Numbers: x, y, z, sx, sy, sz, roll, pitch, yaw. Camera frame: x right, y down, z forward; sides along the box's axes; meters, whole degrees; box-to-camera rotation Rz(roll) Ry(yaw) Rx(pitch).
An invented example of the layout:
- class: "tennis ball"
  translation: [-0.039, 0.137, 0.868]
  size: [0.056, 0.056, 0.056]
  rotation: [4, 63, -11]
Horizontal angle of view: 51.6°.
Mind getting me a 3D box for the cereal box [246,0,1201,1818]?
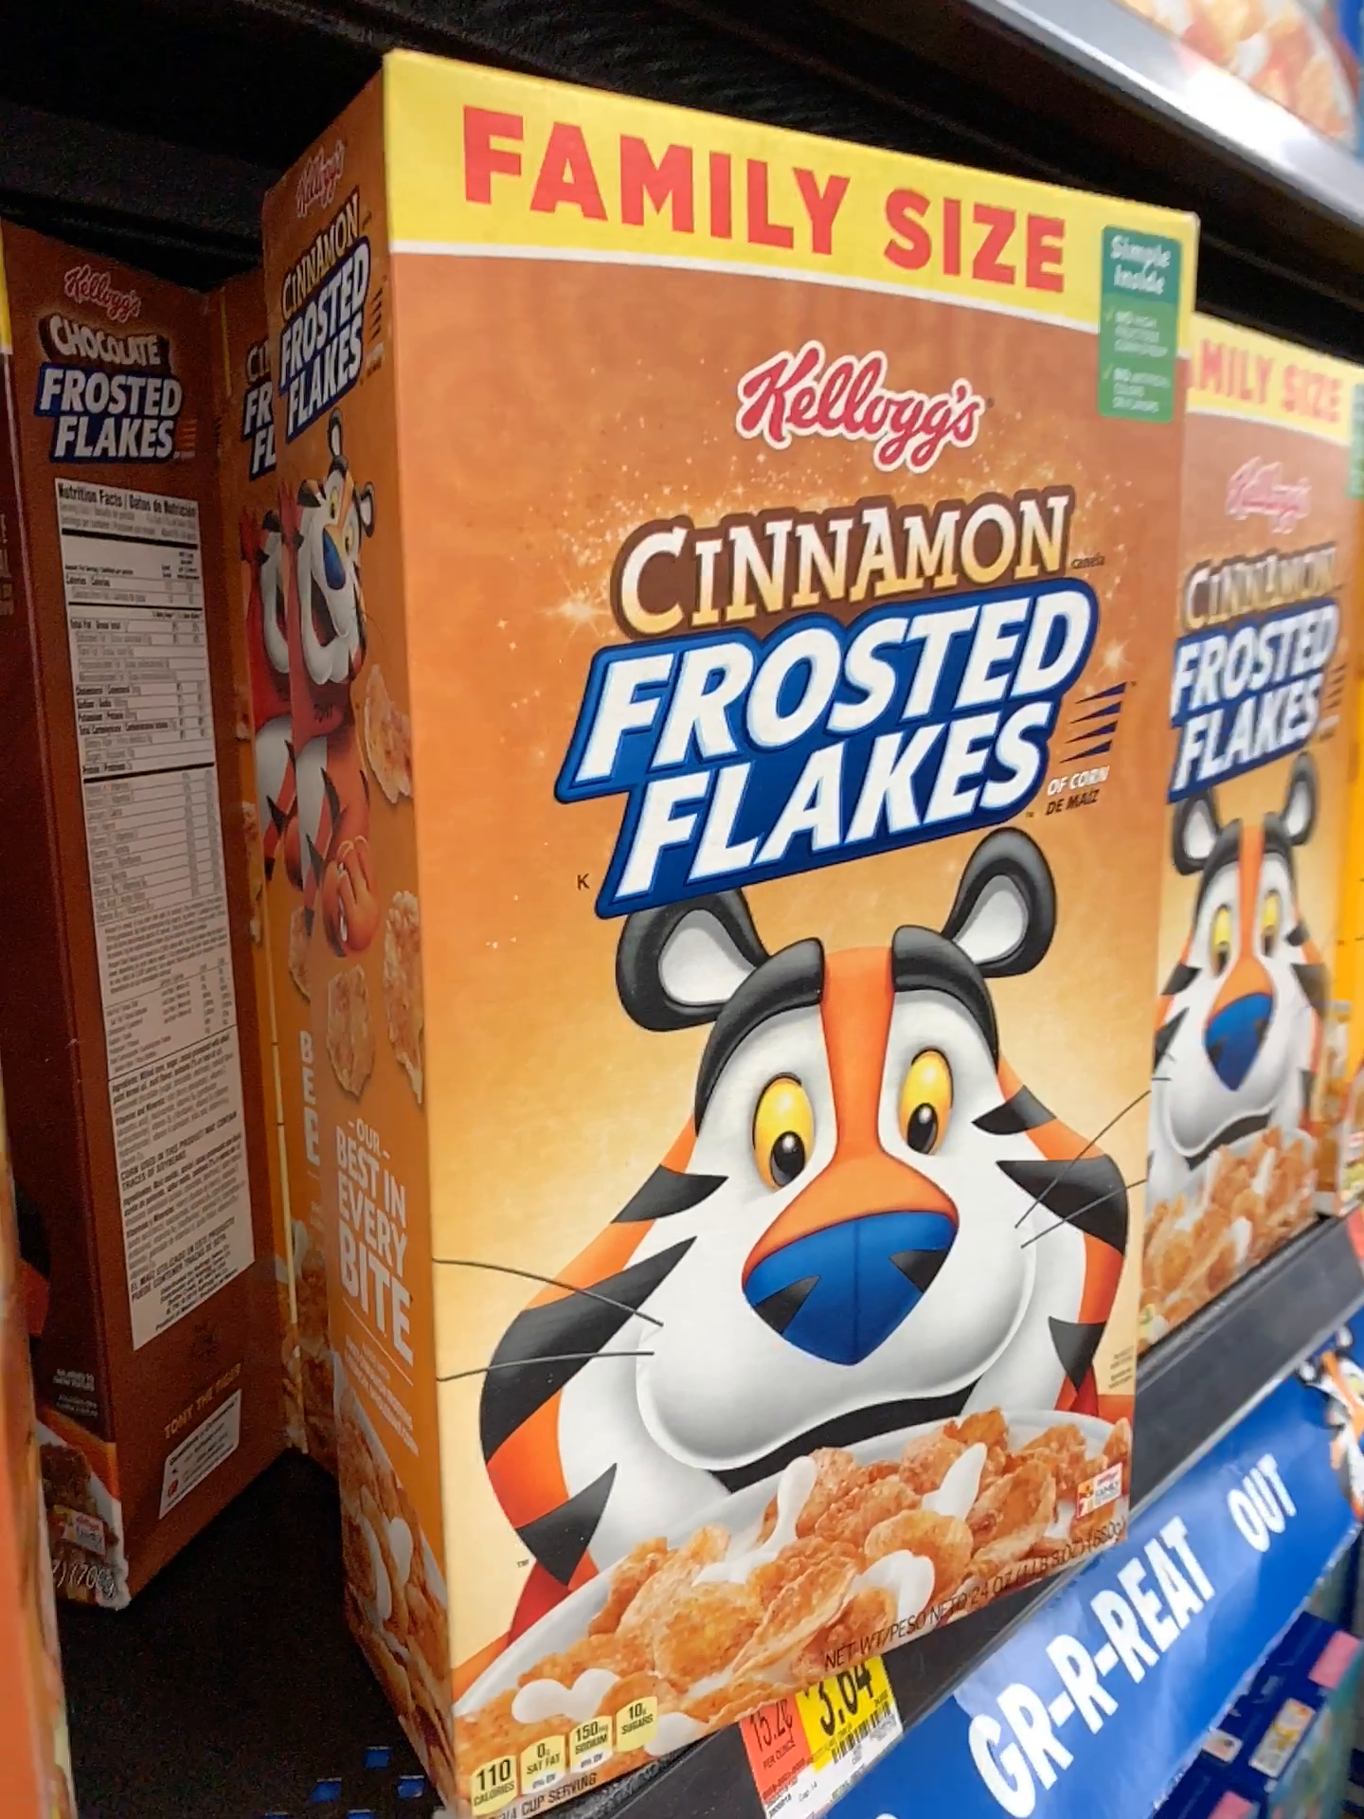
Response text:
- class: "cereal box"
  translation: [0.018, 0.002, 0.339]
  size: [0.200, 0.339, 0.080]
  rotation: [-6, 10, -28]
